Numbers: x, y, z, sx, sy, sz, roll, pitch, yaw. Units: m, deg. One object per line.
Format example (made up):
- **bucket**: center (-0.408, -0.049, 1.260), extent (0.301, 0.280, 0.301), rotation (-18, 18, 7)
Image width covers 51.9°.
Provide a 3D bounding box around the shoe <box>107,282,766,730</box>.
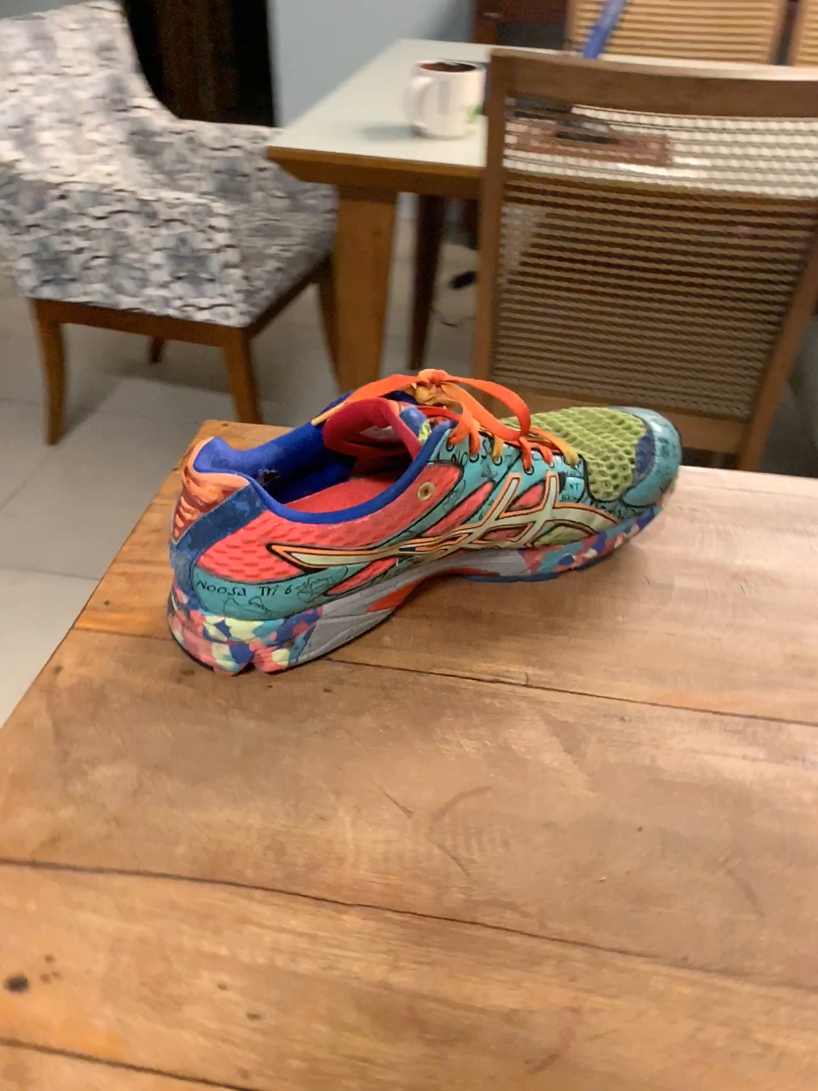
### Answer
- **shoe**: center (0.021, -0.037, 0.448), extent (0.310, 0.118, 0.111), rotation (-18, 43, -23)
